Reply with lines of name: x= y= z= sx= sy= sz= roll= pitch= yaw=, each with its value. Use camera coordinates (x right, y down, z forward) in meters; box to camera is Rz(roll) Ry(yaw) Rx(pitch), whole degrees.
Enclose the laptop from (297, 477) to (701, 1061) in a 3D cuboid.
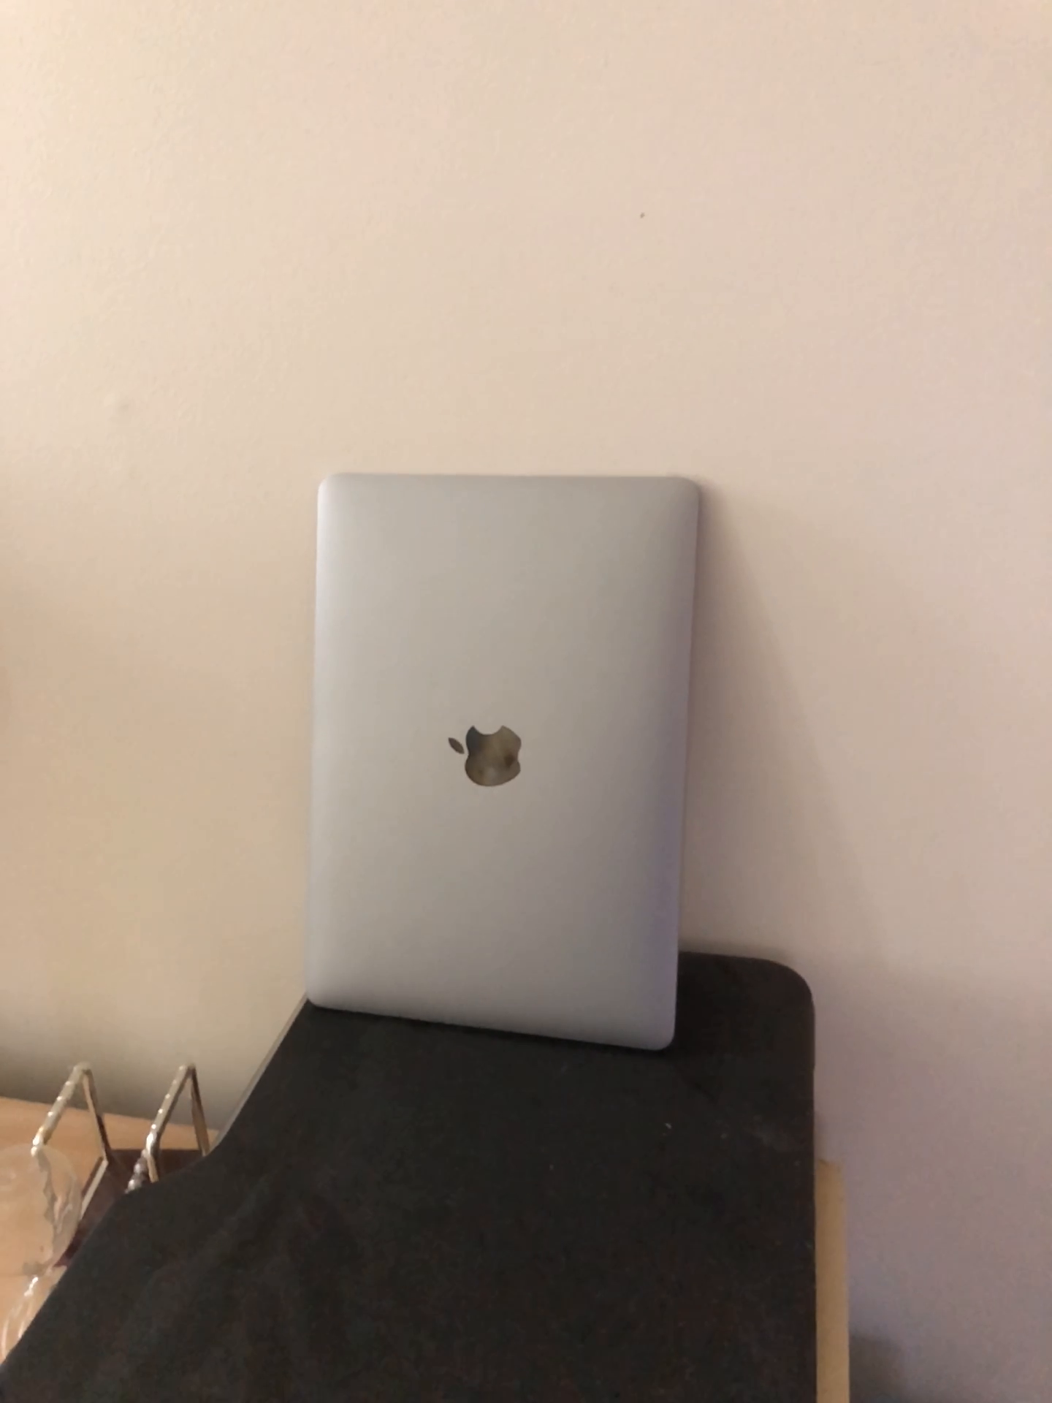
laptop: x=-0.019 y=0.030 z=0.581 sx=0.196 sy=0.275 sz=0.002 roll=3 pitch=3 yaw=14
